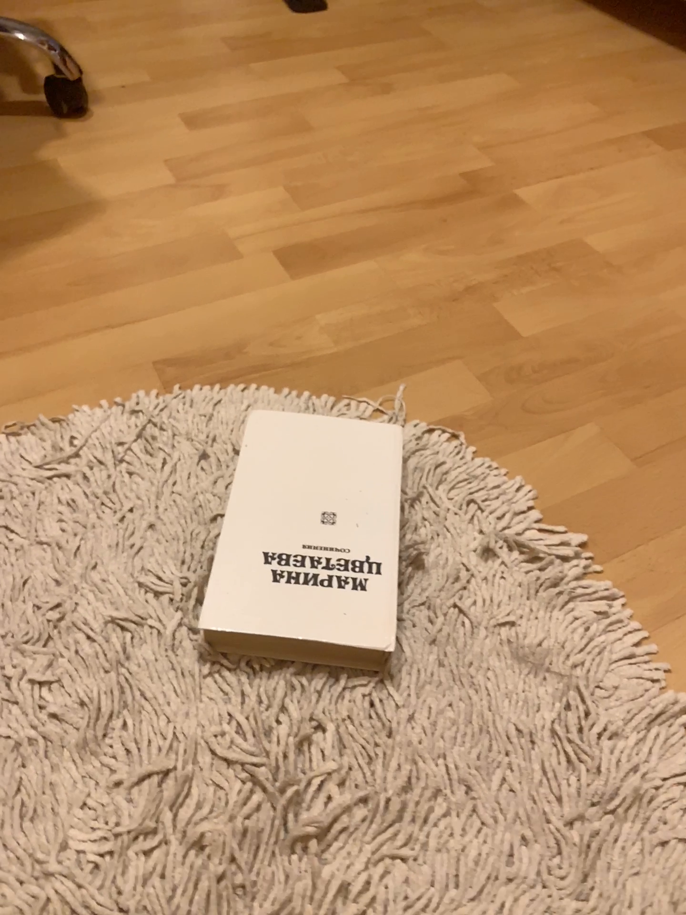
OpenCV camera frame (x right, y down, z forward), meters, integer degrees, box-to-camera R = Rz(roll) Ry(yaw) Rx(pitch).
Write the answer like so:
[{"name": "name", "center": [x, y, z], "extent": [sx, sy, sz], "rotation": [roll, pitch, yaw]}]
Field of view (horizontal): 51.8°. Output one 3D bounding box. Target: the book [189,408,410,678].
[{"name": "book", "center": [-0.023, 0.055, 0.546], "extent": [0.140, 0.040, 0.209], "rotation": [5, 49, 2]}]
